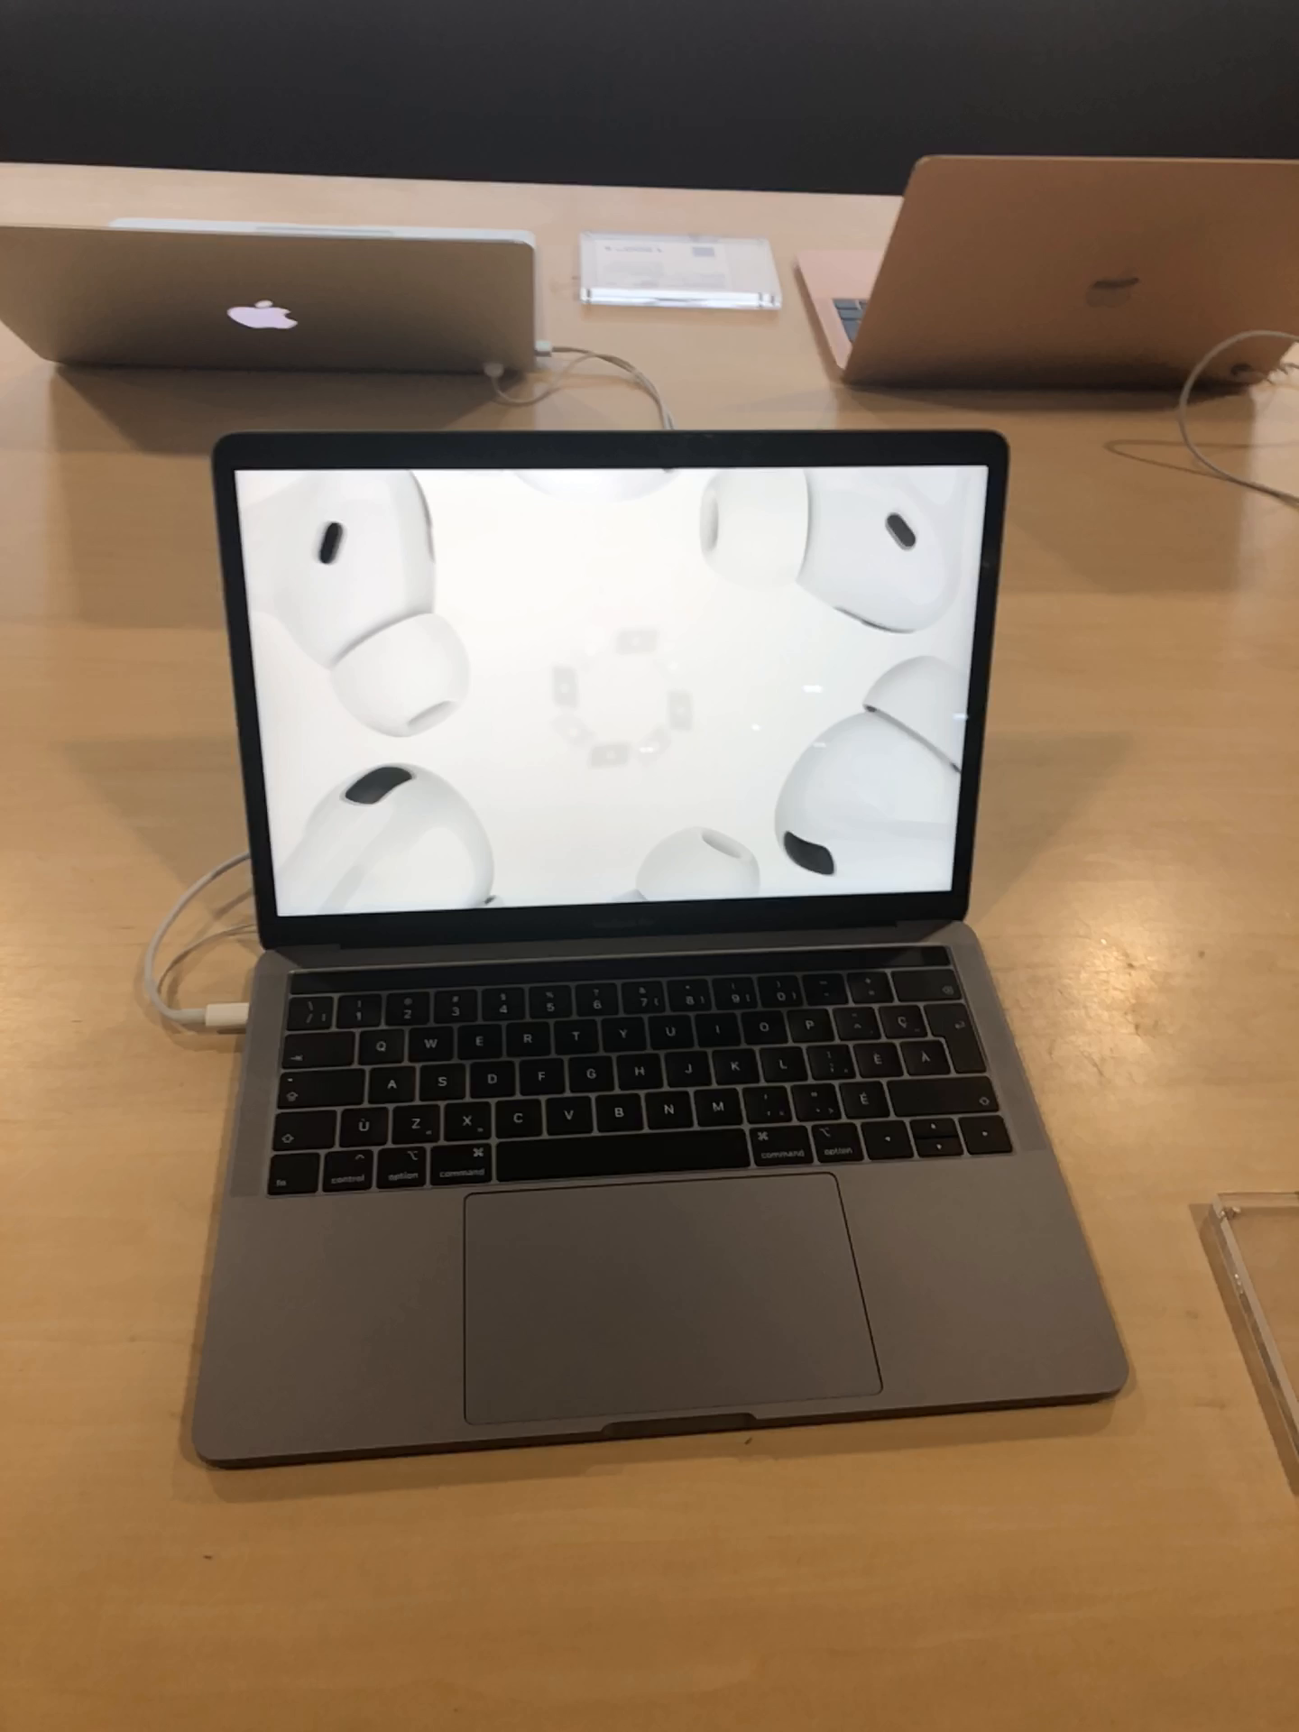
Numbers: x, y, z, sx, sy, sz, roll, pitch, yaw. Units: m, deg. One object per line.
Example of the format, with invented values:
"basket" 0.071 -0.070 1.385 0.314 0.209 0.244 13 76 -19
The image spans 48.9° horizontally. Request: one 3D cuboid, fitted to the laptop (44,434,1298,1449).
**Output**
"laptop" -0.005 0.008 0.493 0.296 0.181 0.296 -2 44 -7
